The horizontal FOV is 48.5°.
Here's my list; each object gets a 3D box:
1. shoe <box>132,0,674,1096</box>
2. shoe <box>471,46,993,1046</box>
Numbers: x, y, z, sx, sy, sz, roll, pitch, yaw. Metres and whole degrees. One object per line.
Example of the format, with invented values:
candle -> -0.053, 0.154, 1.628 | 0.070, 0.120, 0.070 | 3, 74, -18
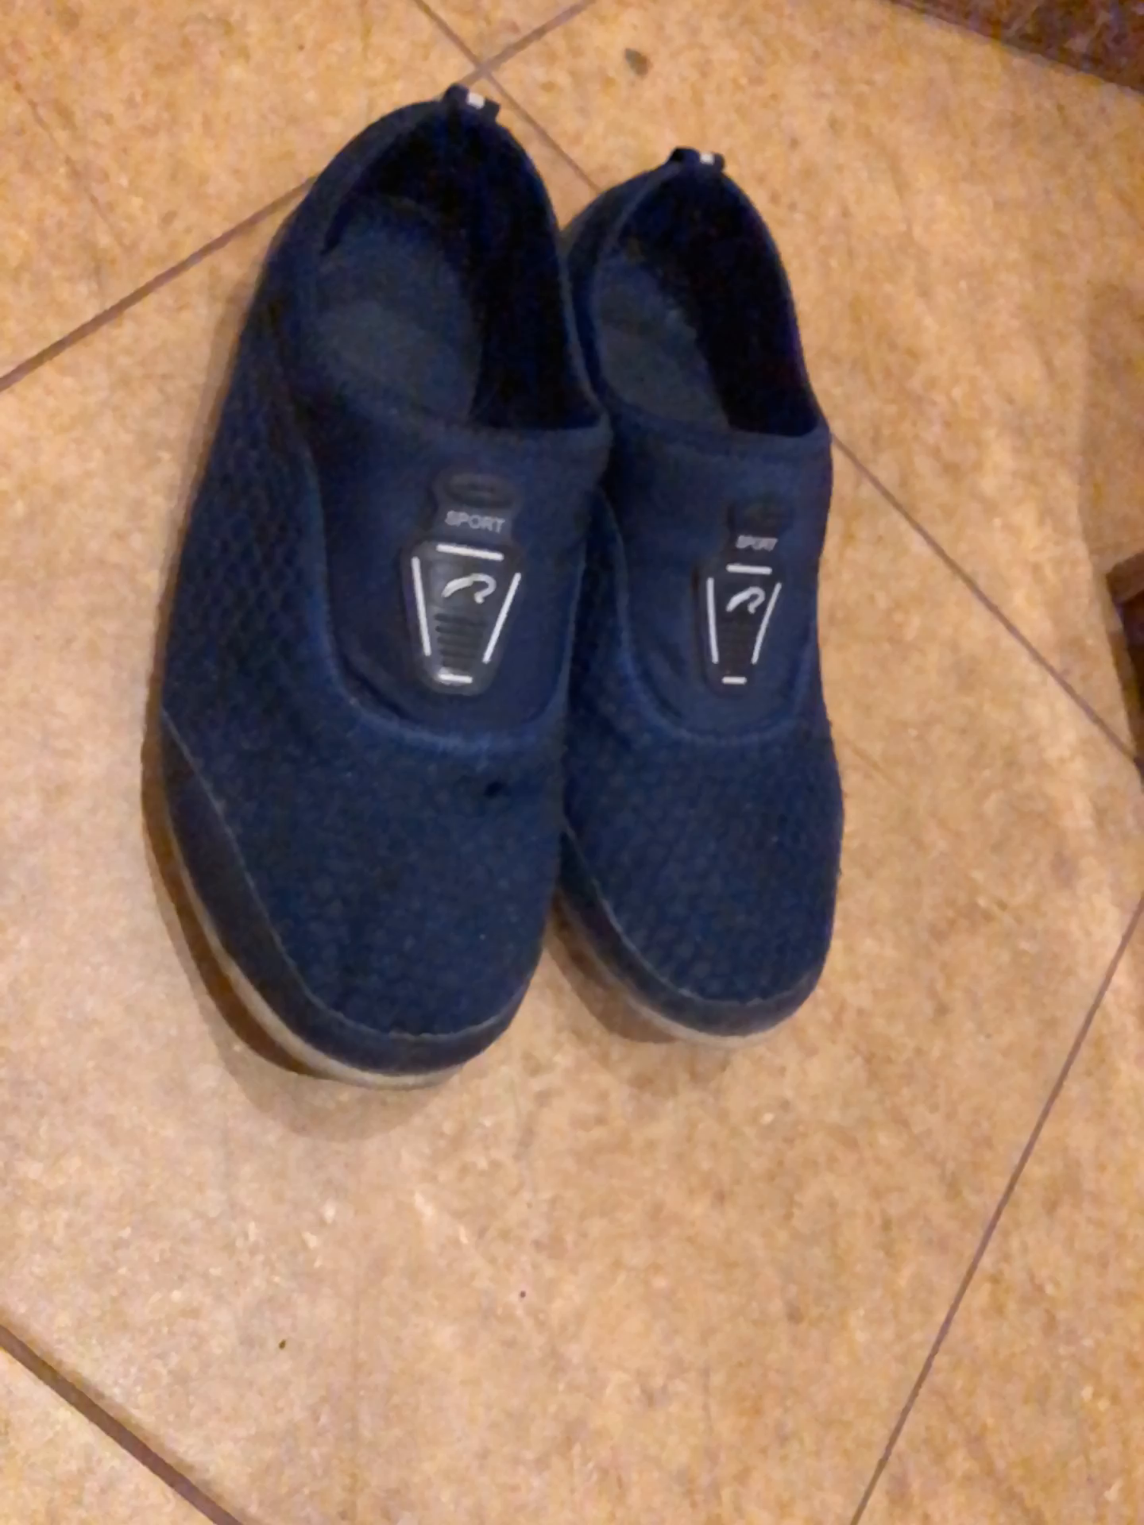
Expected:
shoe -> -0.046, -0.063, 0.342 | 0.110, 0.070, 0.291 | 6, 71, -25
shoe -> 0.041, -0.065, 0.398 | 0.110, 0.070, 0.290 | 3, 72, -26
